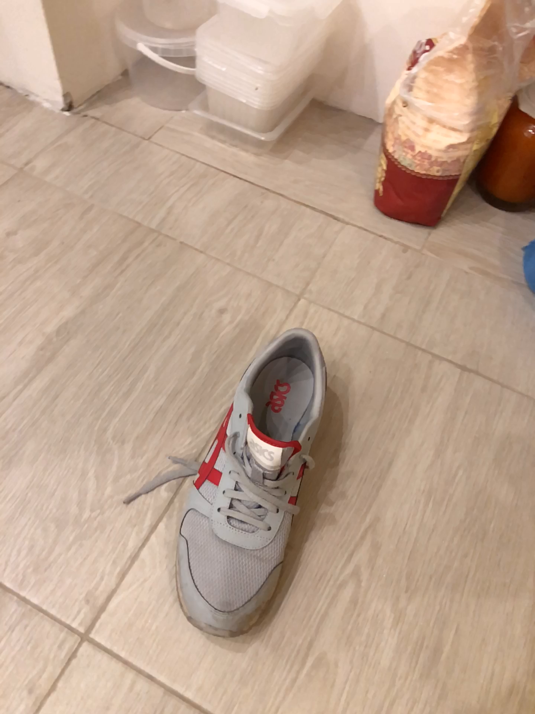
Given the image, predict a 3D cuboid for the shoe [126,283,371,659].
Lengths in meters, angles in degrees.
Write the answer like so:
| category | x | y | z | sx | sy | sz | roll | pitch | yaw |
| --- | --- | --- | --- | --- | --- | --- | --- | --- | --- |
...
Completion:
| category | x | y | z | sx | sy | sz | roll | pitch | yaw |
| --- | --- | --- | --- | --- | --- | --- | --- | --- | --- |
| shoe | -0.005 | 0.095 | 0.547 | 0.110 | 0.129 | 0.299 | 18 | 56 | 7 |
